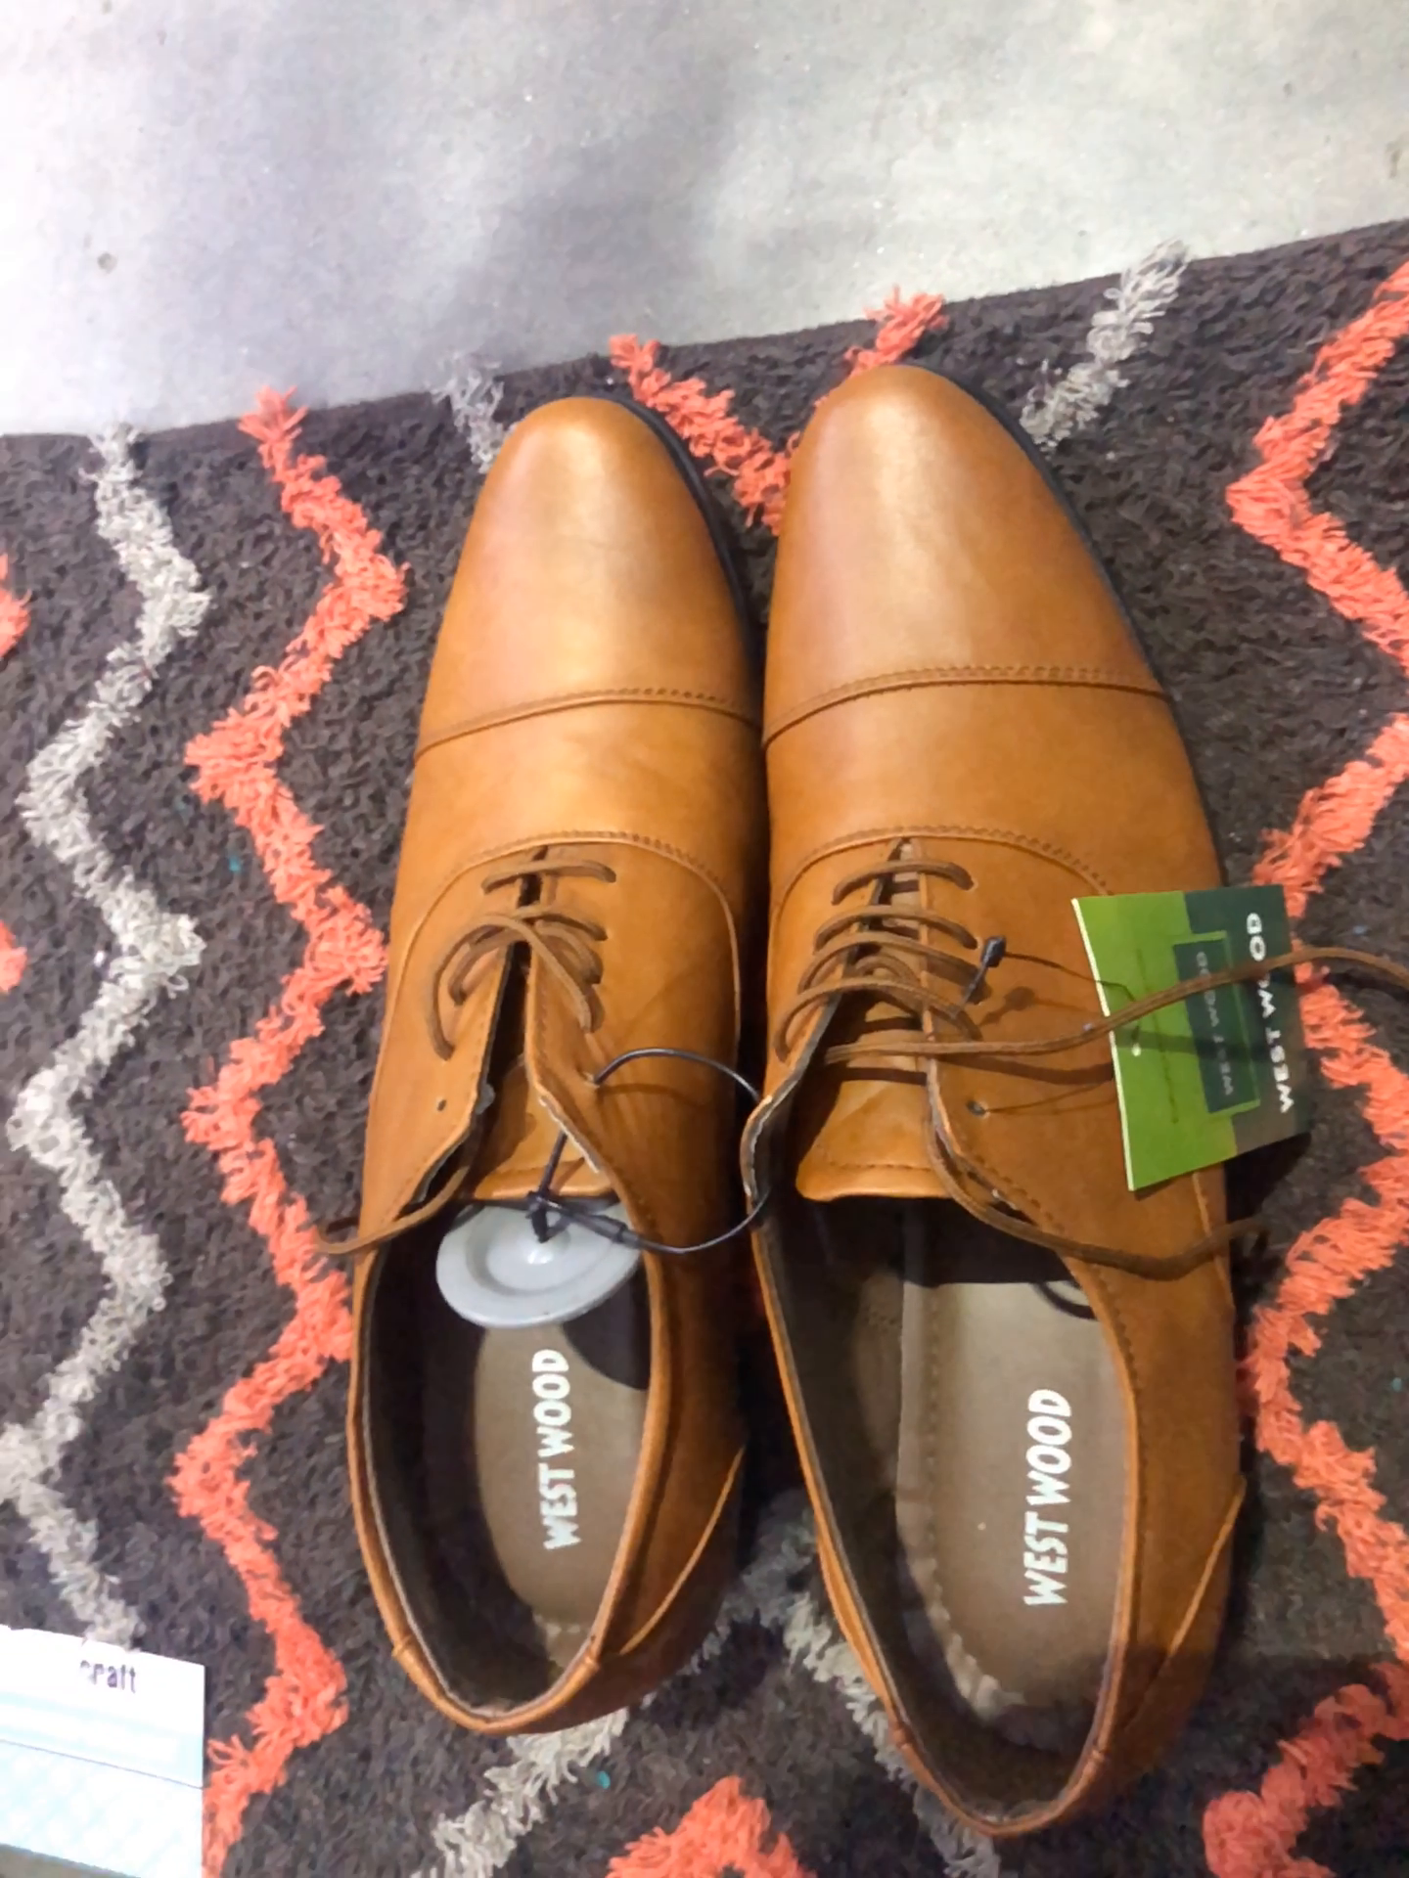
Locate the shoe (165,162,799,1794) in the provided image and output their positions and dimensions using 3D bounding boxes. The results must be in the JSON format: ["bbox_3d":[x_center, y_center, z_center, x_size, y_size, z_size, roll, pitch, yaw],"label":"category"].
[{"bbox_3d":[-0.049,0.006,0.346,0.110,0.070,0.310,-4,85,18],"label":"shoe"}]

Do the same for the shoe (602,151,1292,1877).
[{"bbox_3d":[0.050,0.012,0.326,0.110,0.080,0.300,-4,85,18],"label":"shoe"}]
